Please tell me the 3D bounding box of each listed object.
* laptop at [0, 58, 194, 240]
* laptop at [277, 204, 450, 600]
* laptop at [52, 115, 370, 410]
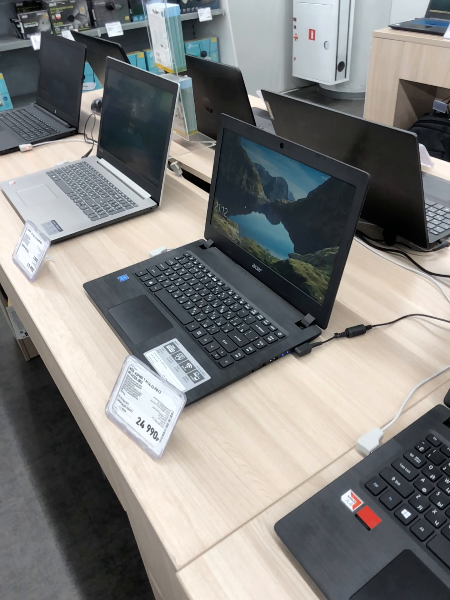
[{"bbox_3d":[-0.325,-0.361,1.112,0.338,0.236,0.364,-23,40,-22],"label":"laptop"},{"bbox_3d":[0.302,0.153,0.360,0.376,0.216,0.380,-25,41,-24],"label":"laptop"},{"bbox_3d":[-0.031,-0.091,0.739,0.302,0.223,0.344,-24,41,-23],"label":"laptop"}]
